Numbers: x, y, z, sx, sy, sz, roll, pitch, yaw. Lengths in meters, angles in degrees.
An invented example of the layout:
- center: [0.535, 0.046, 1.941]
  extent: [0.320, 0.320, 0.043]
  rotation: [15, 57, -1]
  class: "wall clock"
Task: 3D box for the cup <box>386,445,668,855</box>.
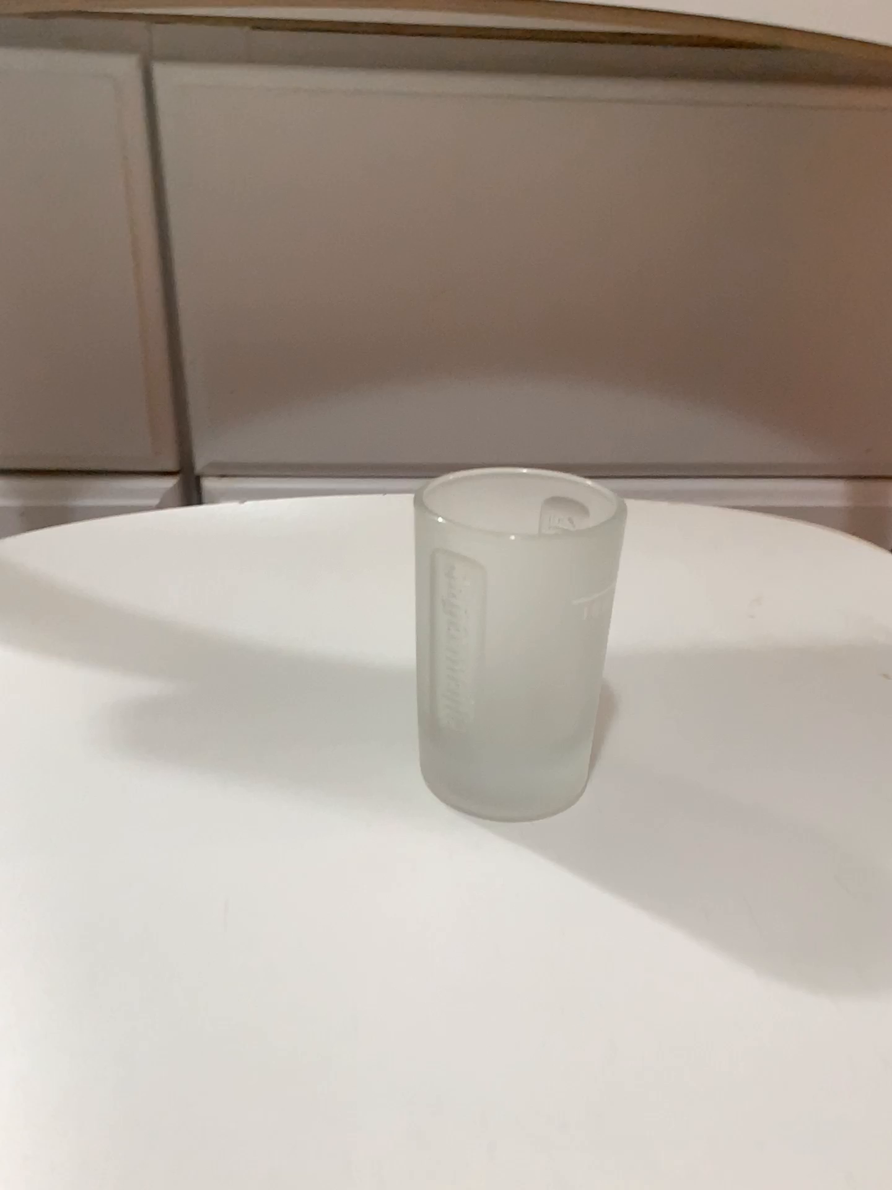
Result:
- center: [0.013, 0.011, 0.201]
  extent: [0.049, 0.075, 0.042]
  rotation: [-2, 27, -6]
  class: "cup"
